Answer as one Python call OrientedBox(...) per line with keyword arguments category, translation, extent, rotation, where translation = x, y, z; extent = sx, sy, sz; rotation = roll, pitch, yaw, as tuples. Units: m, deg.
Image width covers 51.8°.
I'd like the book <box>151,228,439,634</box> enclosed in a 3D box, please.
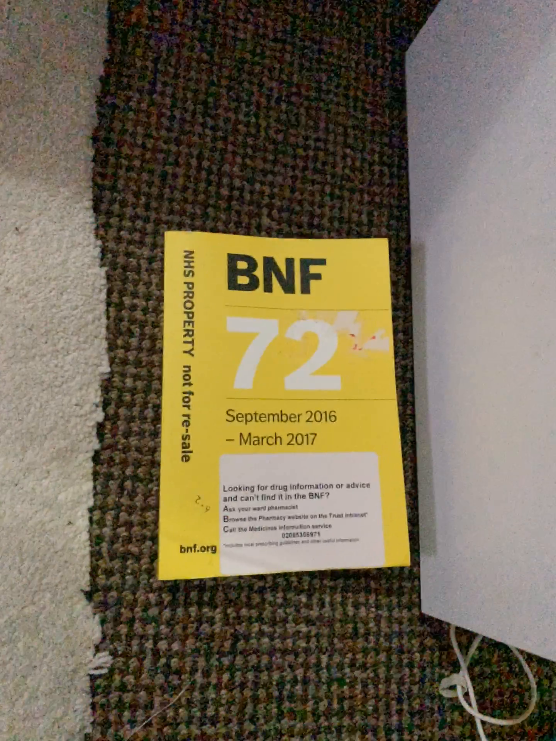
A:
OrientedBox(category="book", translation=(0.006, 0.031, 0.357), extent=(0.160, 0.050, 0.220), rotation=(1, 77, -16))
